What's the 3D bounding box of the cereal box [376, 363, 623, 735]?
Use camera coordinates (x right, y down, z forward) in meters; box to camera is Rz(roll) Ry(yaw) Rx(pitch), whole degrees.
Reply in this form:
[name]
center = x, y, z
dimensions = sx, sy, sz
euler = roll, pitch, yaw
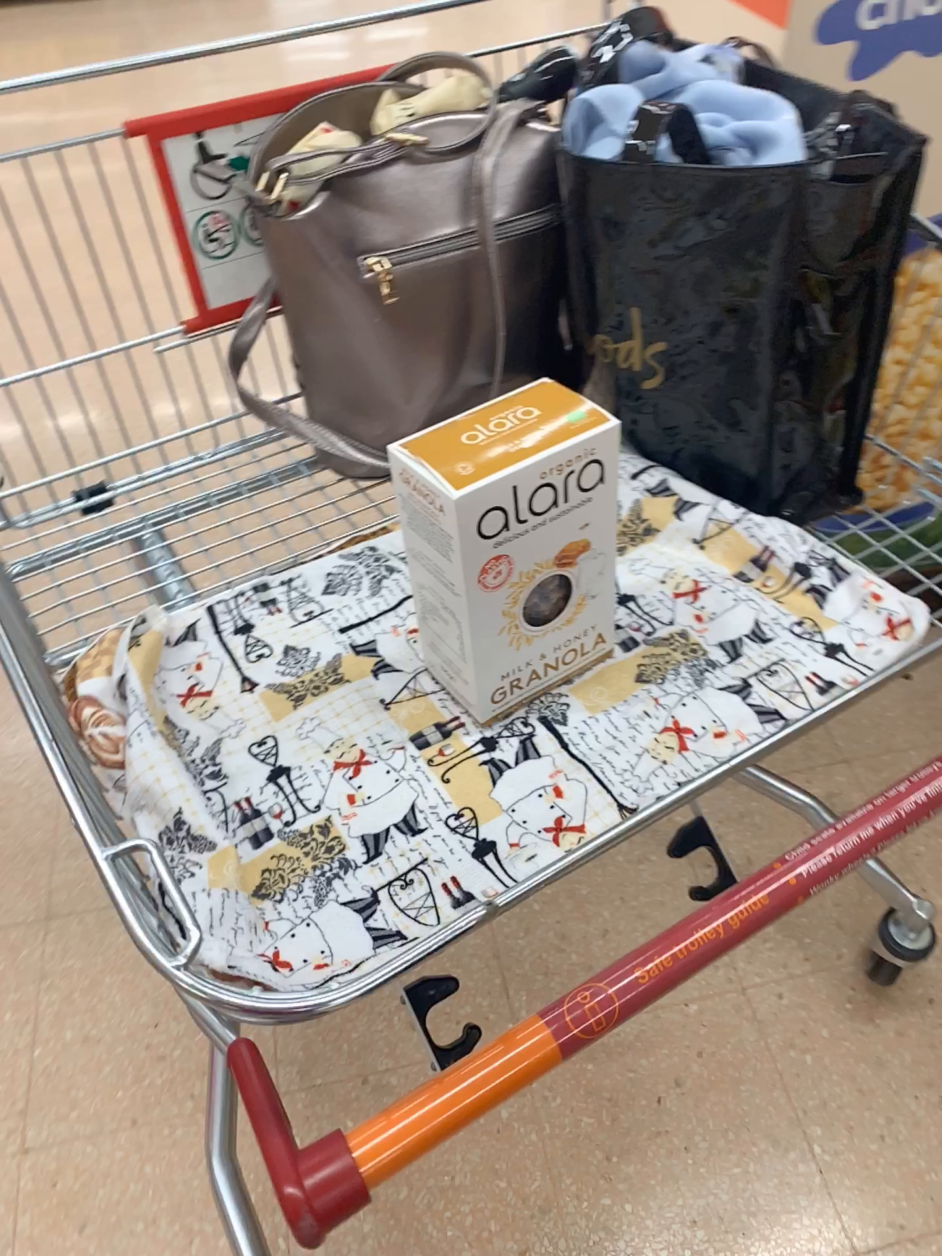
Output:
[cereal box]
center = 0.022, -0.048, 0.628
dimensions = 0.120, 0.198, 0.081
euler = -28, 47, -23
